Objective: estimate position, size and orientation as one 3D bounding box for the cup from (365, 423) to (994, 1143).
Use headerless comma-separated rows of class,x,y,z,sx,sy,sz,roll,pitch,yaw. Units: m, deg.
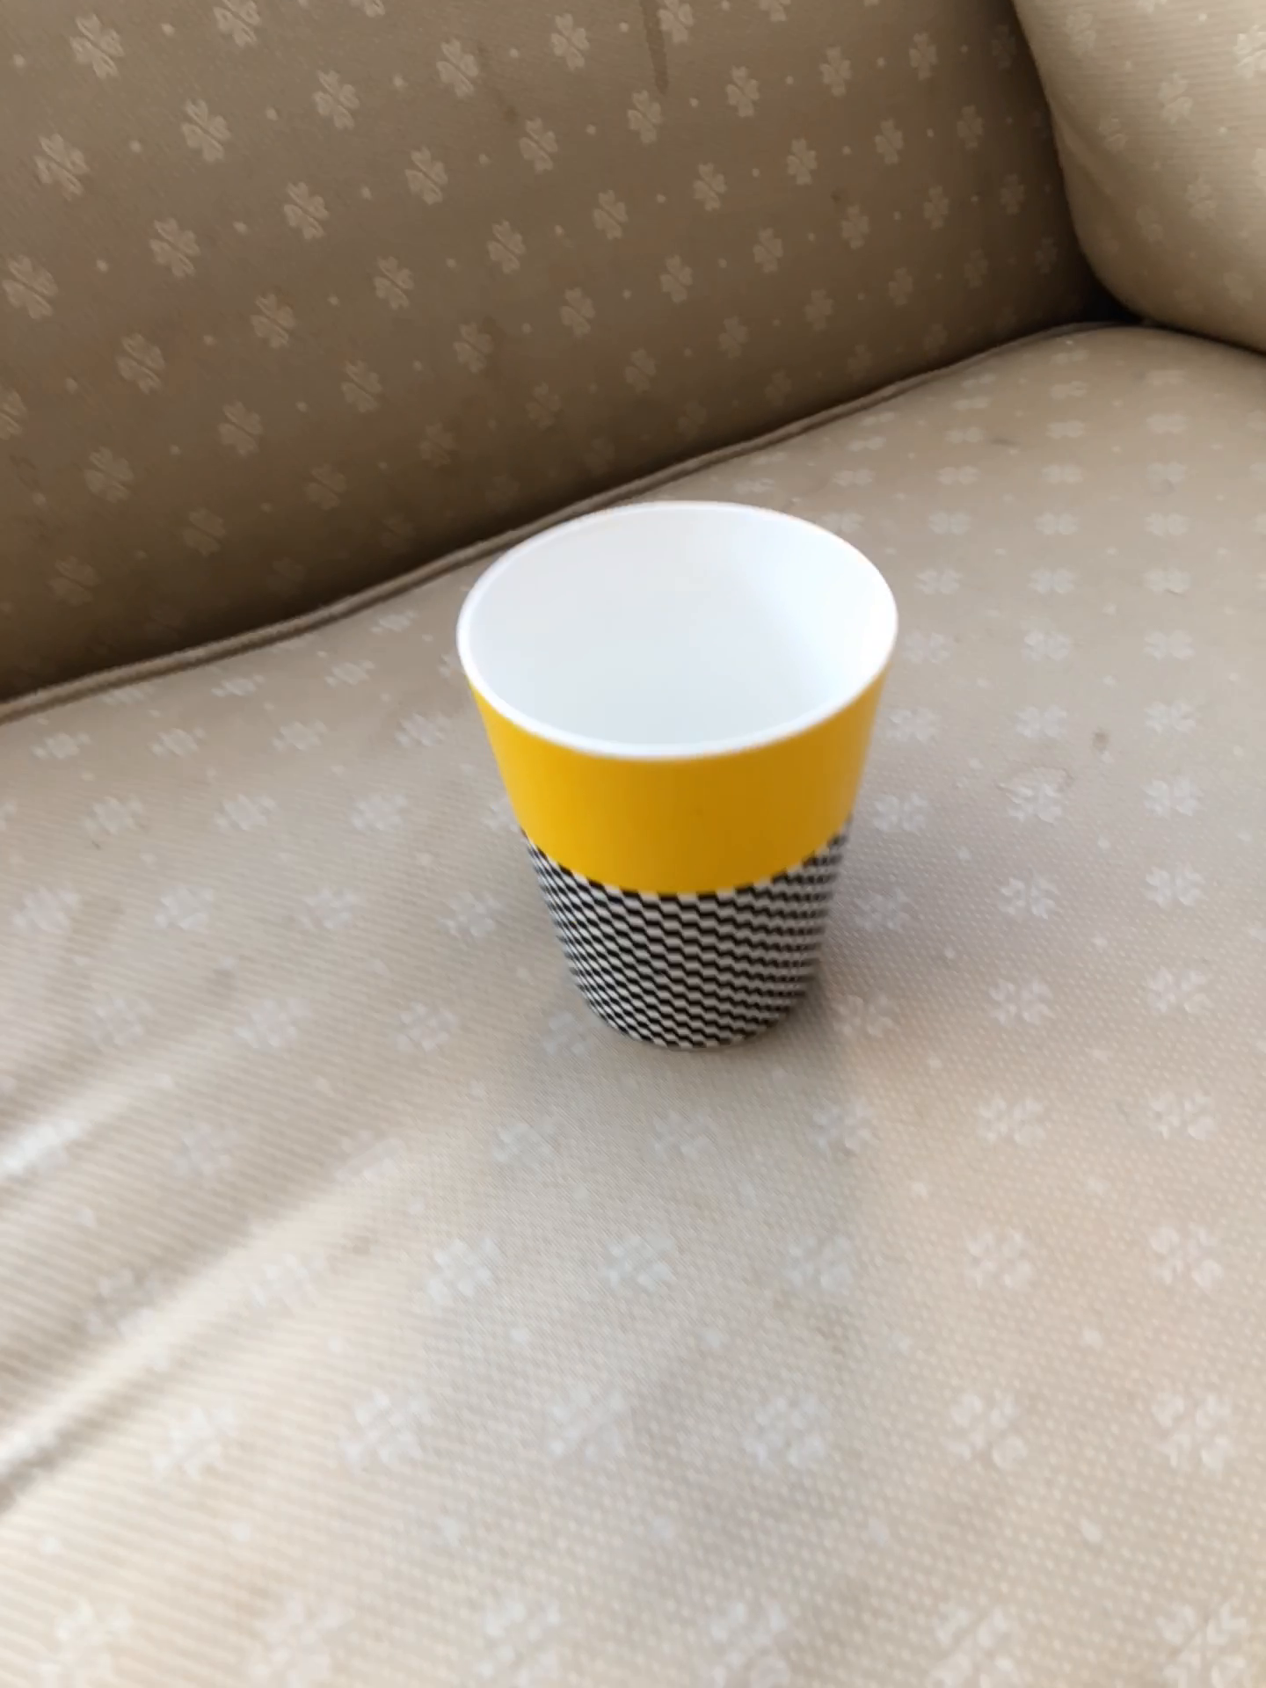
cup,0.006,-0.018,0.312,0.087,0.090,0.112,-19,46,-14
